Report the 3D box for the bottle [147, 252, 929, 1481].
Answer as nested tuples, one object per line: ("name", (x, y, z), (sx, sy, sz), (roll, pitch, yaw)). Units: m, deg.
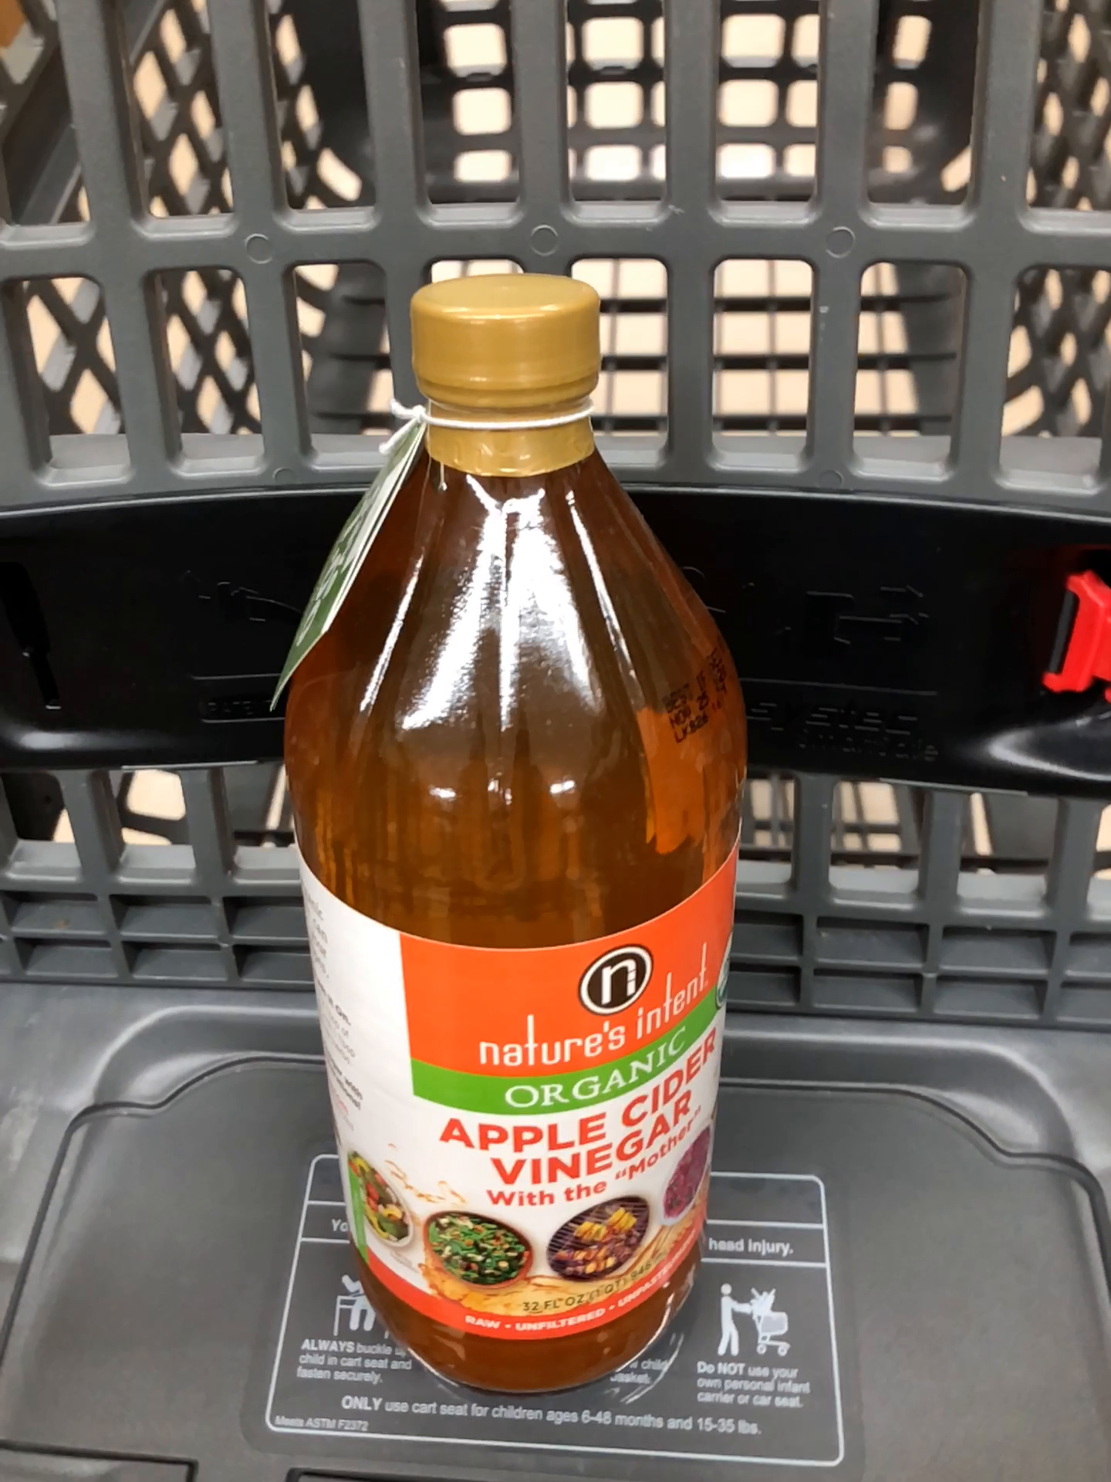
("bottle", (-0.008, 0.033, 0.260), (0.100, 0.240, 0.090), (-13, 31, -22))
